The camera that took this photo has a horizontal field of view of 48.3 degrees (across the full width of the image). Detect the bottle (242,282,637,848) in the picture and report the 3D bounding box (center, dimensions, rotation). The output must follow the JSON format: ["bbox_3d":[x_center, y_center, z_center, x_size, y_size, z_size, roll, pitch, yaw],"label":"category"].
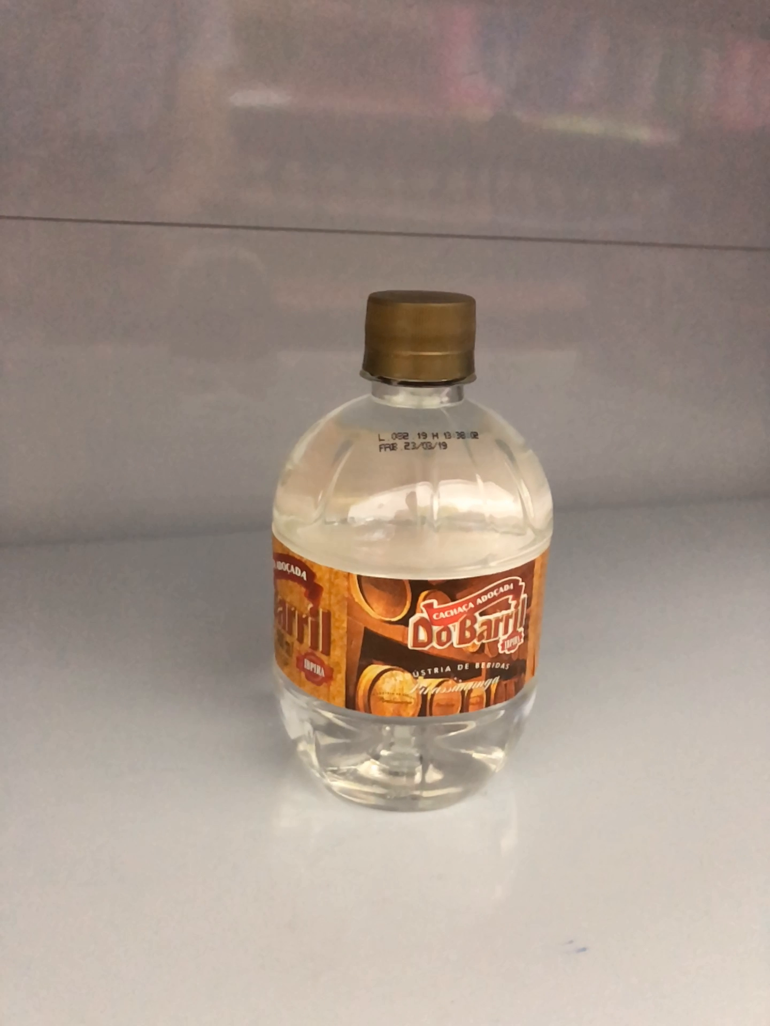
[{"bbox_3d":[0.008,0.007,0.257,0.080,0.139,0.080,2,20,-1],"label":"bottle"}]
